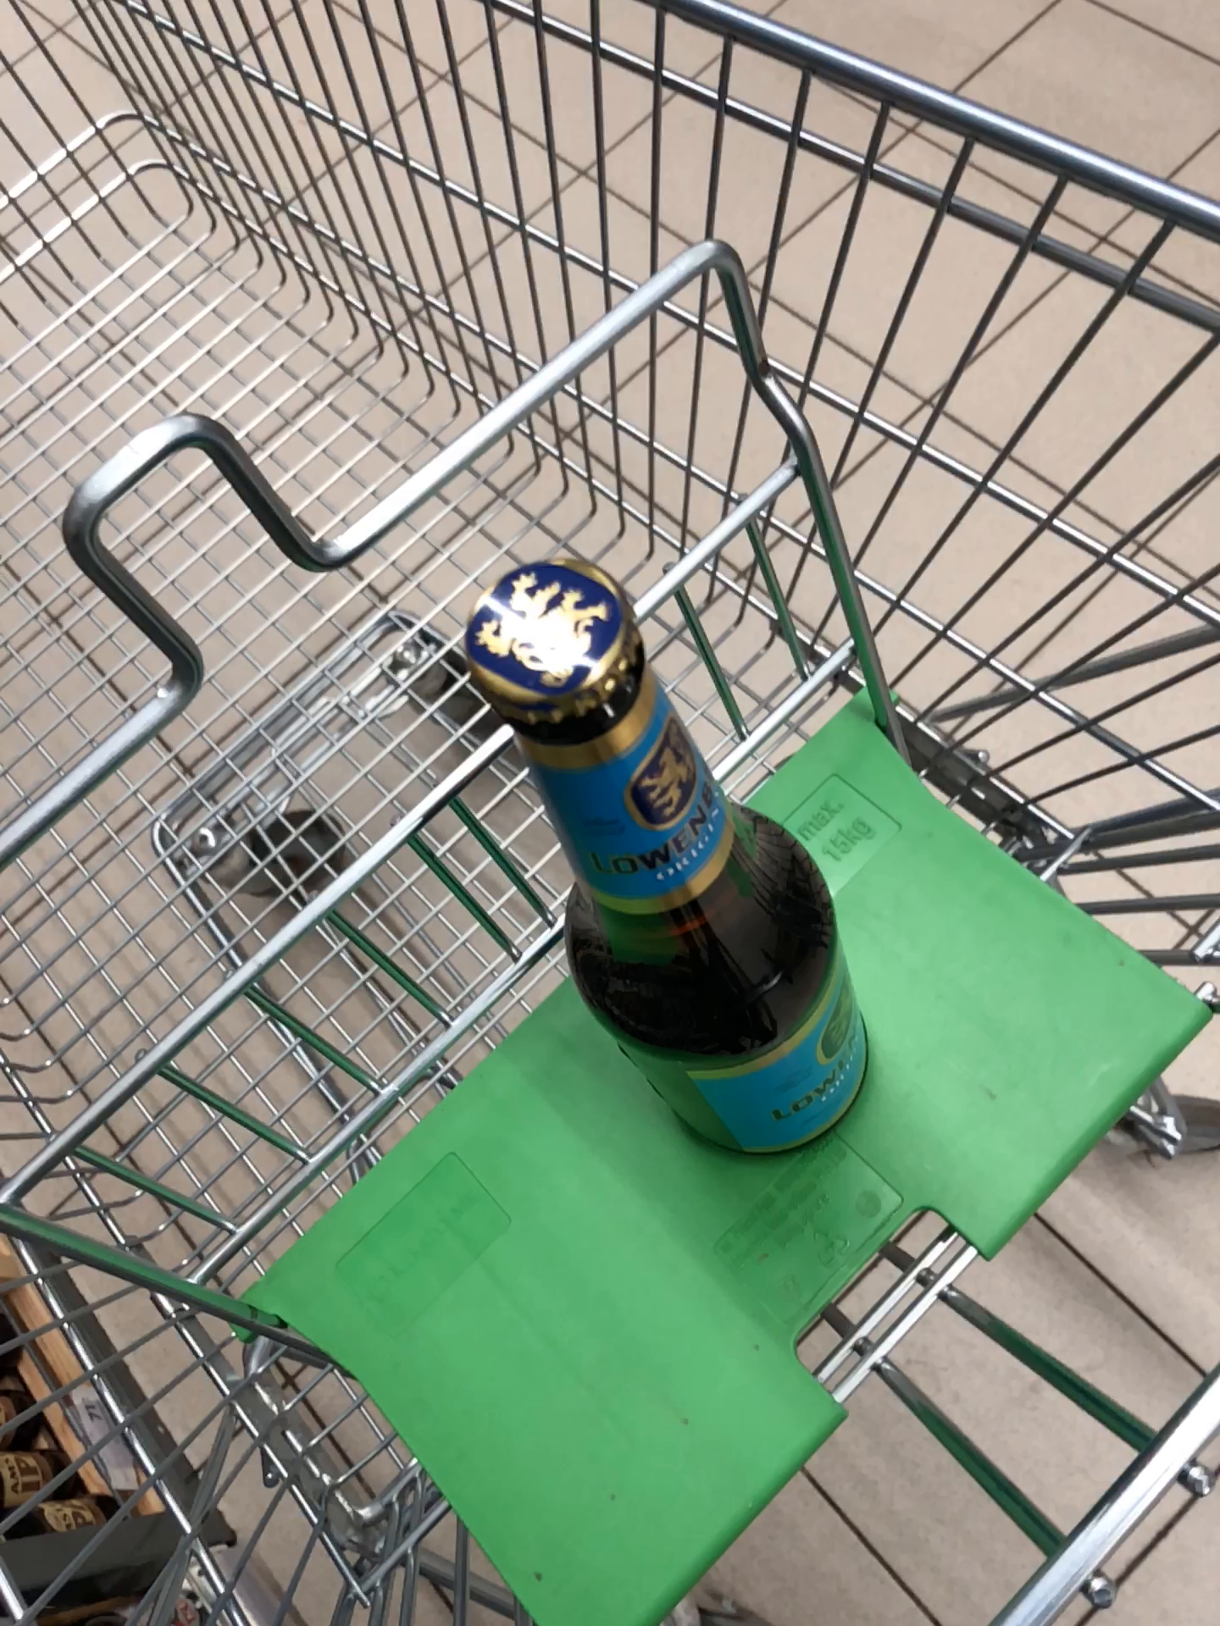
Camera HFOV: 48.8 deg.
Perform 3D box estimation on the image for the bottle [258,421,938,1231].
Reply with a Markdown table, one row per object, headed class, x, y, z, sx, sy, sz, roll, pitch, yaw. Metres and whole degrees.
| class | x | y | z | sx | sy | sz | roll | pitch | yaw |
| --- | --- | --- | --- | --- | --- | --- | --- | --- | --- |
| bottle | 0.025 | 0.029 | 0.311 | 0.070 | 0.249 | 0.080 | 19 | 73 | 22 |
